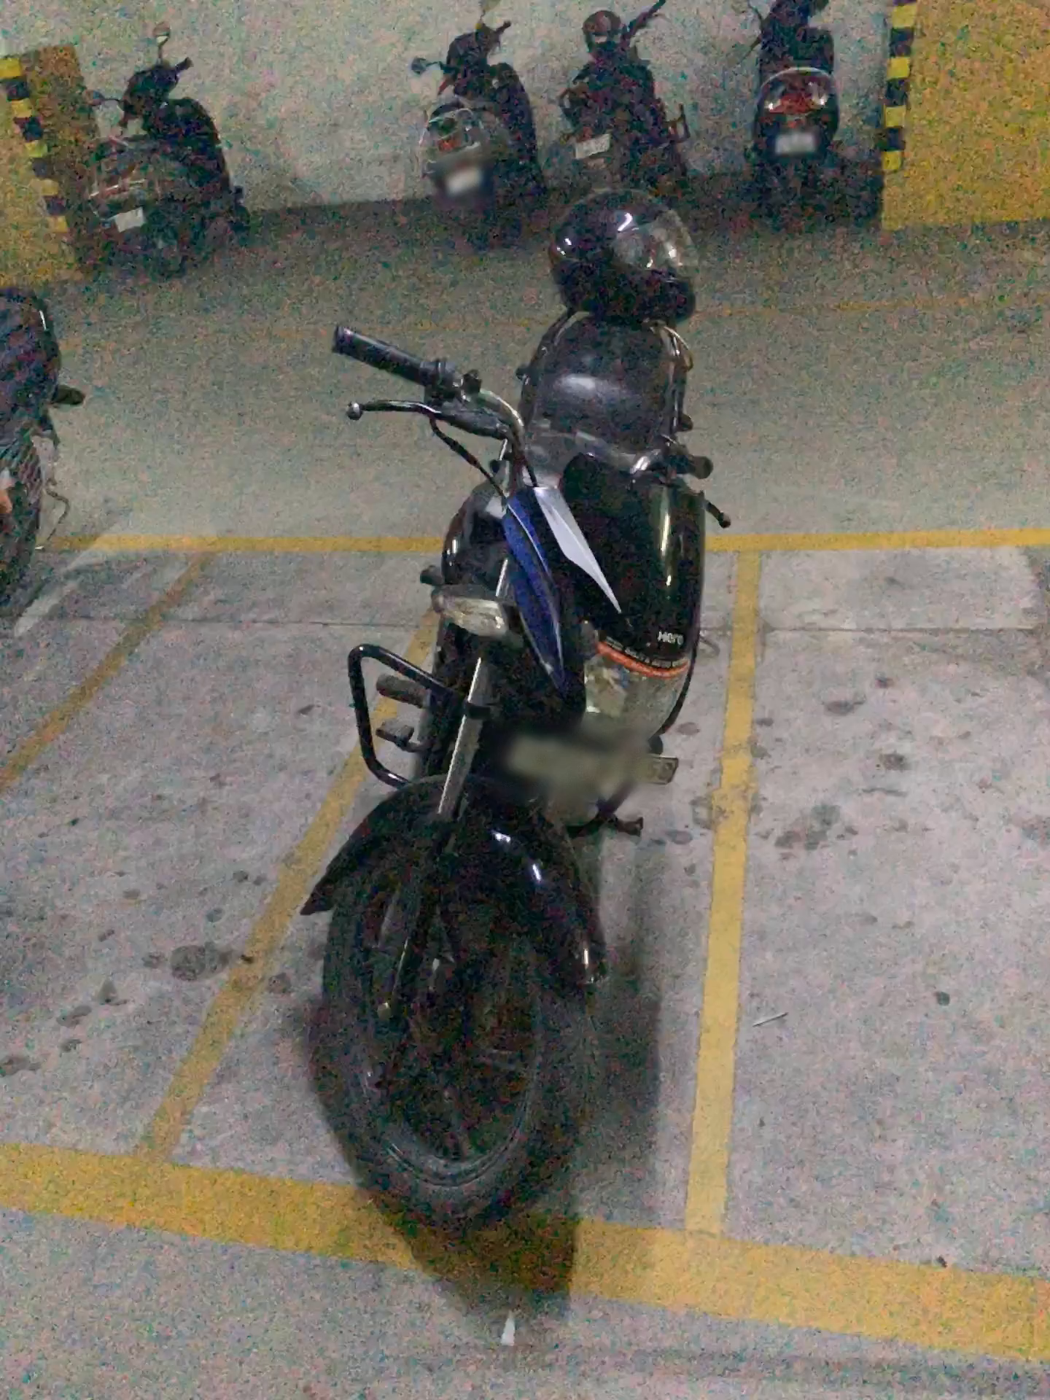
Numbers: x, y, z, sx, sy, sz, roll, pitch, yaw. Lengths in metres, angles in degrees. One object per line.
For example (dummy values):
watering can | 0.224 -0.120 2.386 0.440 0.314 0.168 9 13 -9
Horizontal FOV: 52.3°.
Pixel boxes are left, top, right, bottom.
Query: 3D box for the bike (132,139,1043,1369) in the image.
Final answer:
bike | 0.148 -0.109 1.883 0.767 1.156 1.725 -2 38 8
